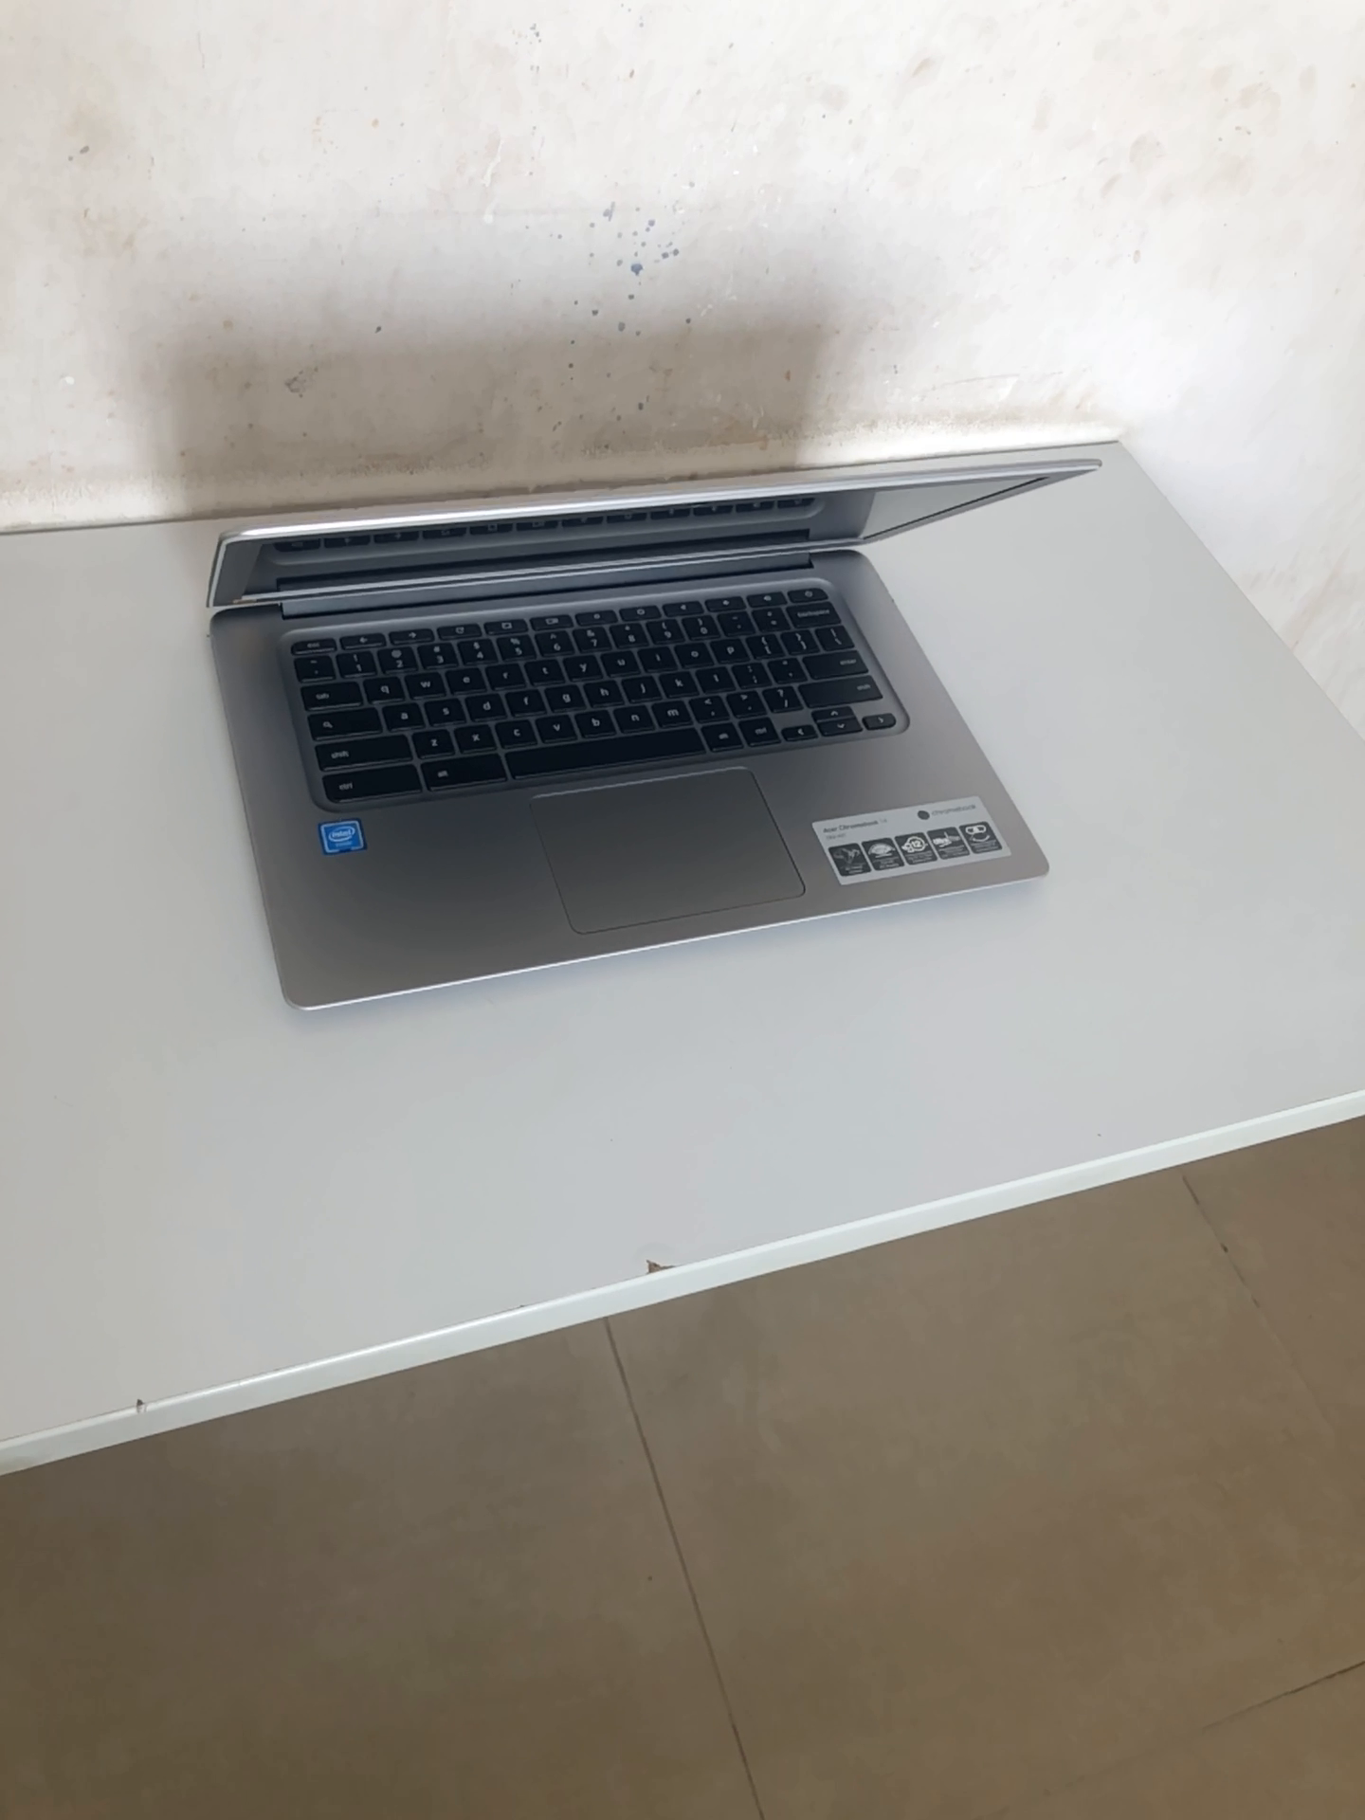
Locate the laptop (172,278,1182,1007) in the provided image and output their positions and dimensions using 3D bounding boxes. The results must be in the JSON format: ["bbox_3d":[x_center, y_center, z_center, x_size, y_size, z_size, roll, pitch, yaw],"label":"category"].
[{"bbox_3d":[-0.017,-0.123,0.618,0.326,0.155,0.222,-10,53,-18],"label":"laptop"}]
